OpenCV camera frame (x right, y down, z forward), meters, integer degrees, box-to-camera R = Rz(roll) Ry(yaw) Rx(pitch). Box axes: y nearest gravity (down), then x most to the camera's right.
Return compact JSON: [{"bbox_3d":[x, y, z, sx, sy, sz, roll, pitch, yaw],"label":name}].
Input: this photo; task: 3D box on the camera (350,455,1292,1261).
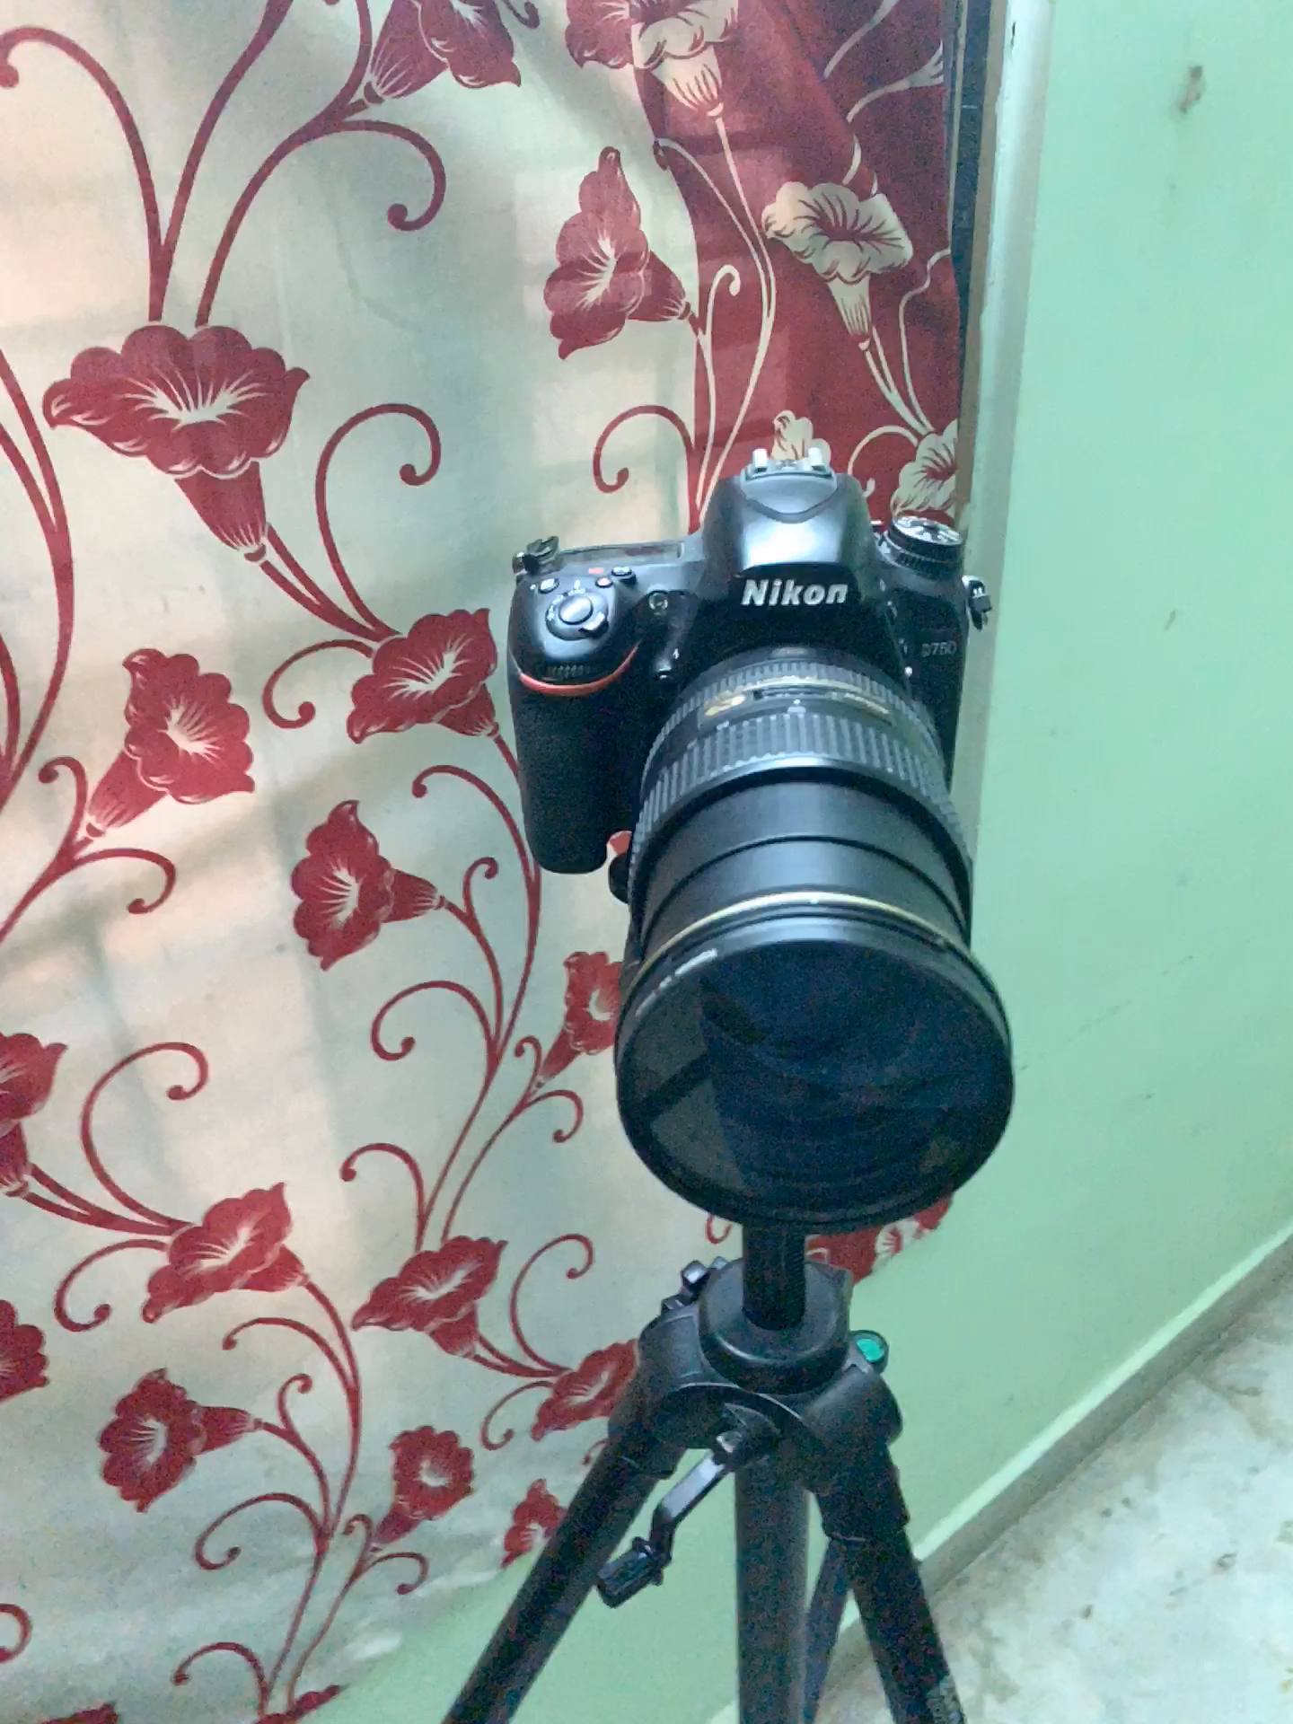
[{"bbox_3d":[0.039,-0.014,0.324,0.172,0.122,0.171,-2,30,1],"label":"camera"}]
